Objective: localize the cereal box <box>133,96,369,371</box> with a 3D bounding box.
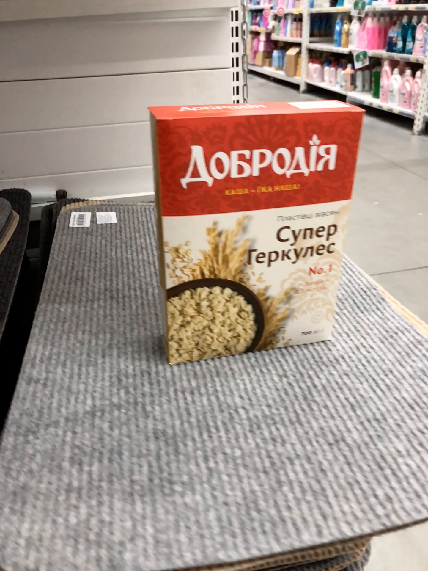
[{"bbox_3d":[0.029,-0.045,0.435,0.180,0.228,0.060,-7,30,-12],"label":"cereal box"}]
